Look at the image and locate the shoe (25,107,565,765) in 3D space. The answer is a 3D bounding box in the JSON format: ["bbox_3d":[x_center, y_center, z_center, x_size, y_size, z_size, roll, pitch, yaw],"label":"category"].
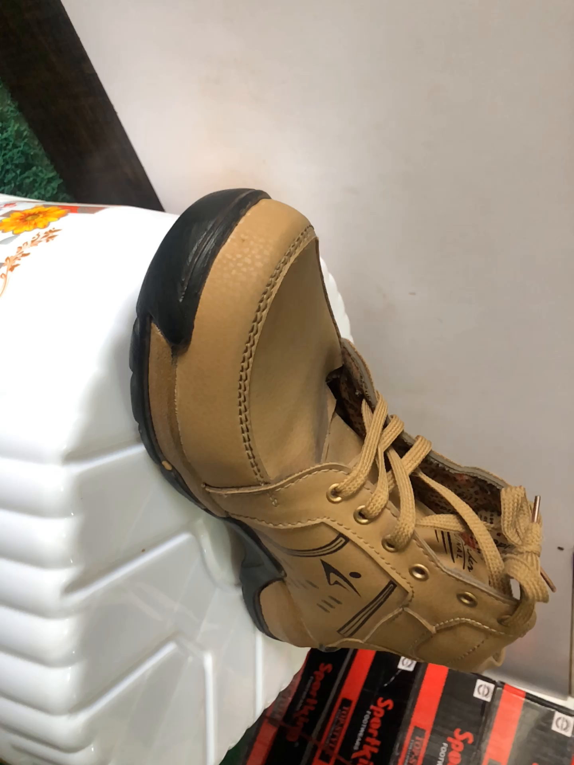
[{"bbox_3d":[0.046,0.067,0.272,0.141,0.109,0.301,-58,143,-41],"label":"shoe"}]
